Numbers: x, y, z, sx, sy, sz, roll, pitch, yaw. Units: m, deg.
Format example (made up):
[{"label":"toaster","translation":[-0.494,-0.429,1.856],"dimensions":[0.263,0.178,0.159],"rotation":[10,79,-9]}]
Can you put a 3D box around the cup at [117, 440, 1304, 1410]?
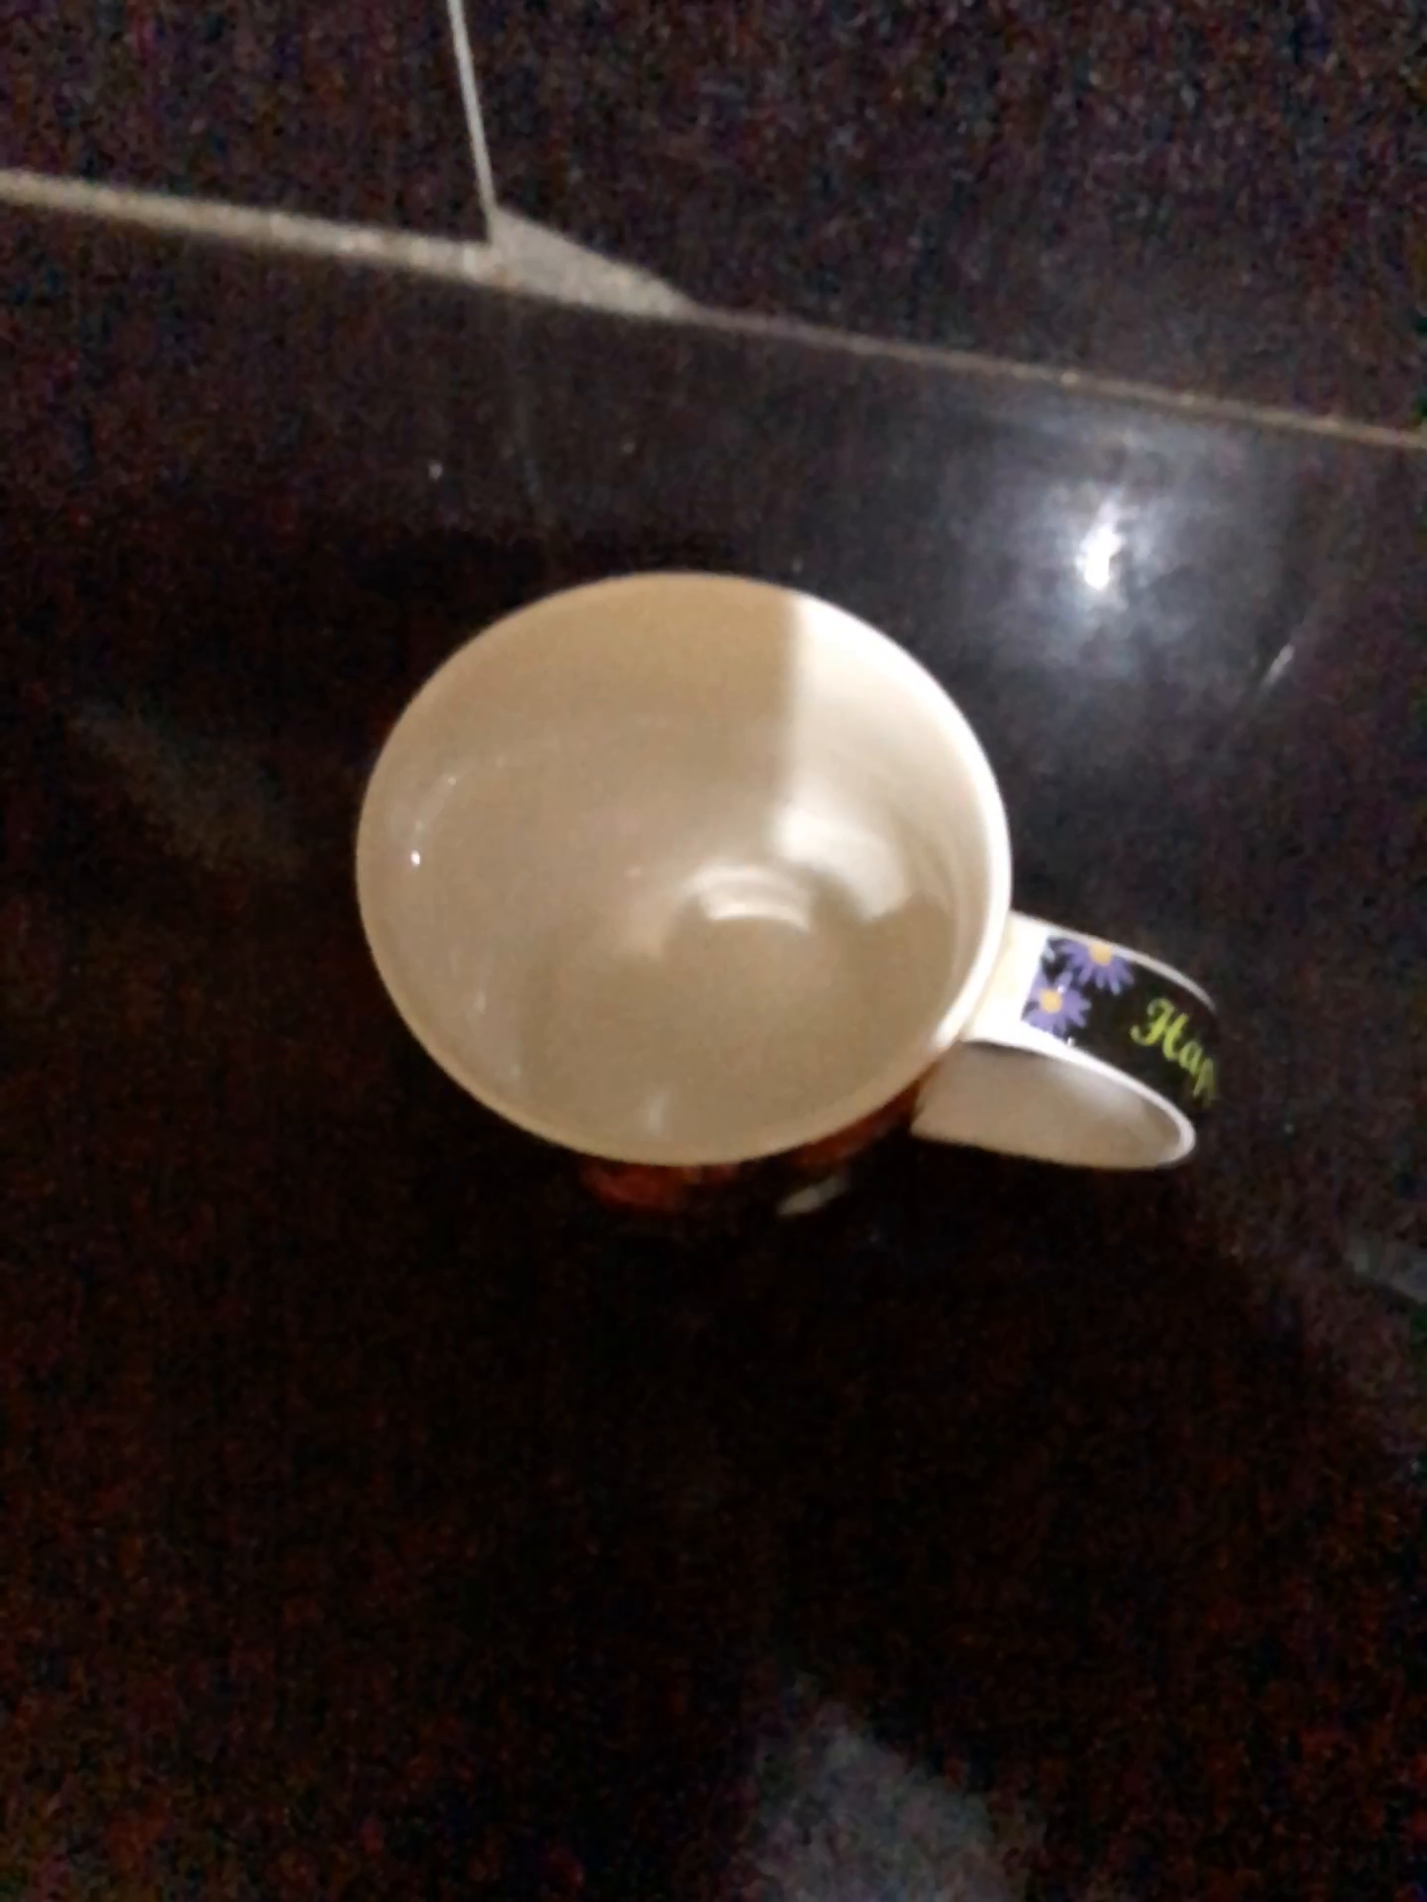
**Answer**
[{"label":"cup","translation":[0.003,0.002,0.246],"dimensions":[0.130,0.090,0.090],"rotation":[16,70,5]}]
